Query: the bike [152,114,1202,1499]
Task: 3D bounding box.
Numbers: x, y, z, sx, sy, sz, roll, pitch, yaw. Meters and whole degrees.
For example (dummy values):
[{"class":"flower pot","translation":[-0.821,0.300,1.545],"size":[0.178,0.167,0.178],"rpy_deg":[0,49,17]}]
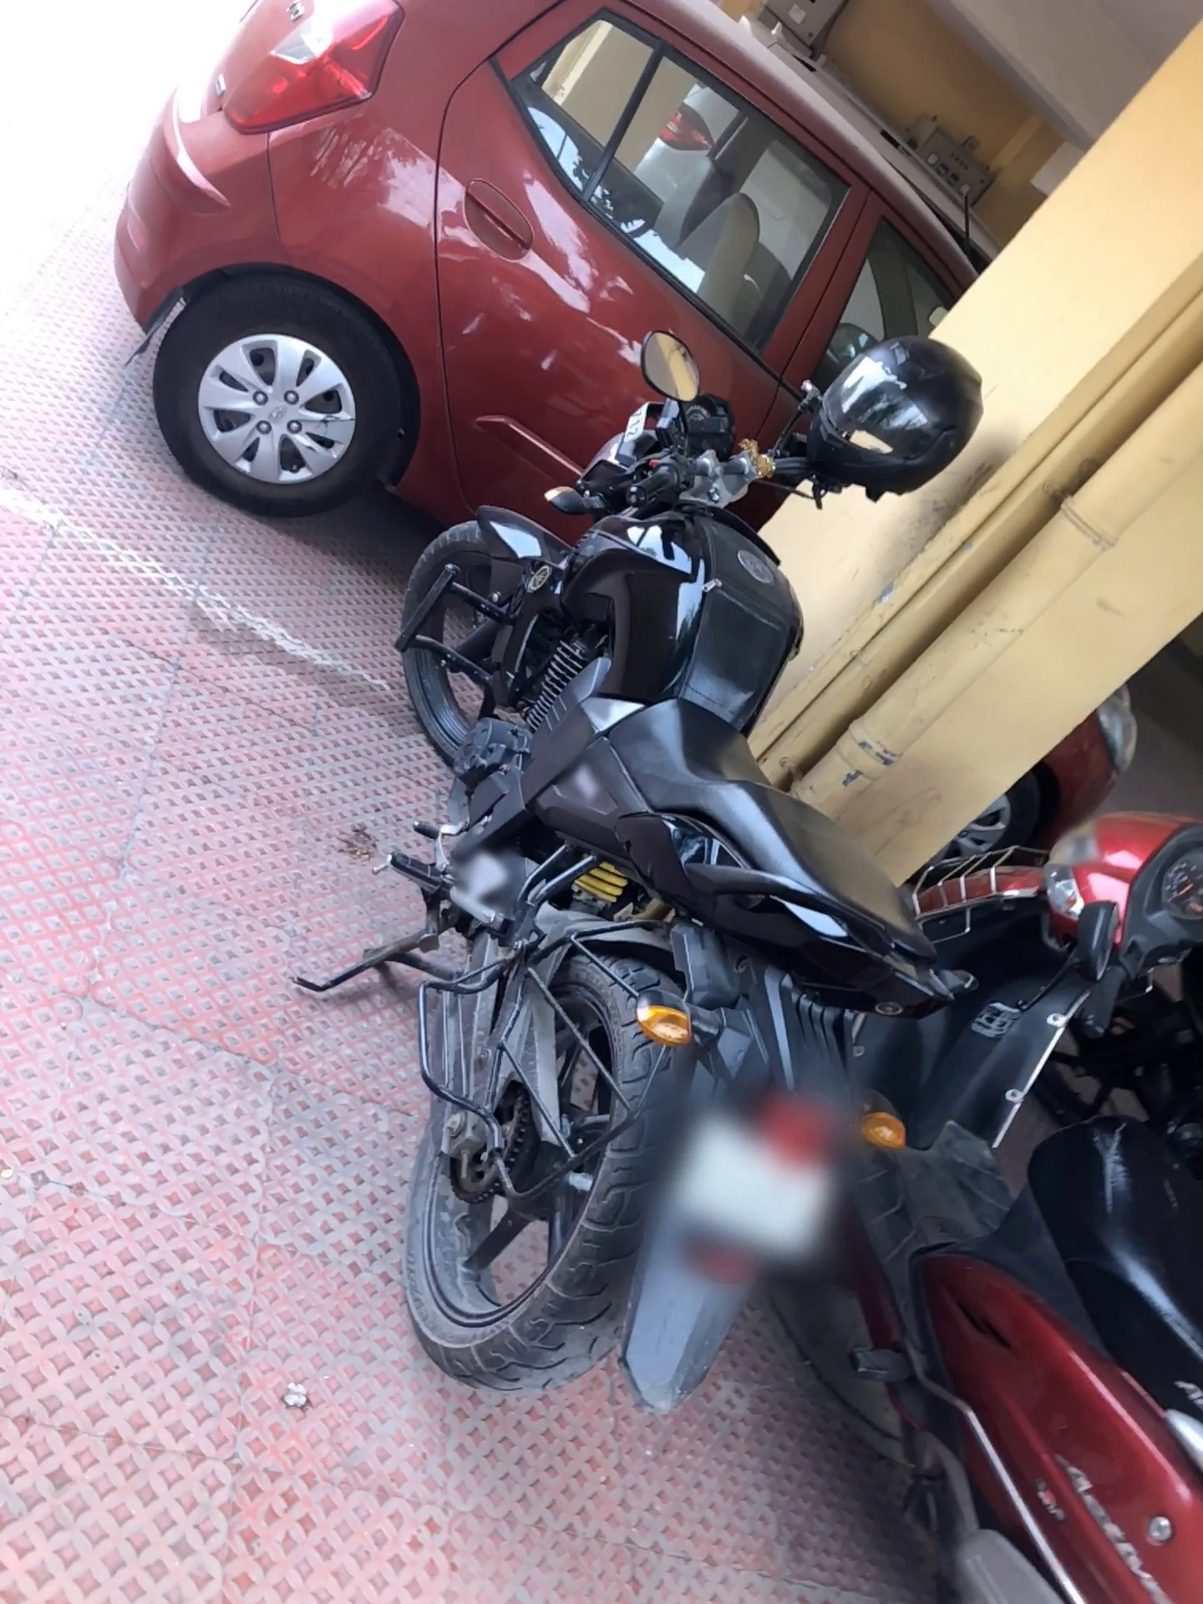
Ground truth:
[{"class":"bike","translation":[-0.062,-0.141,2.039],"size":[0.740,1.026,1.786],"rpy_deg":[26,29,-31]}]
